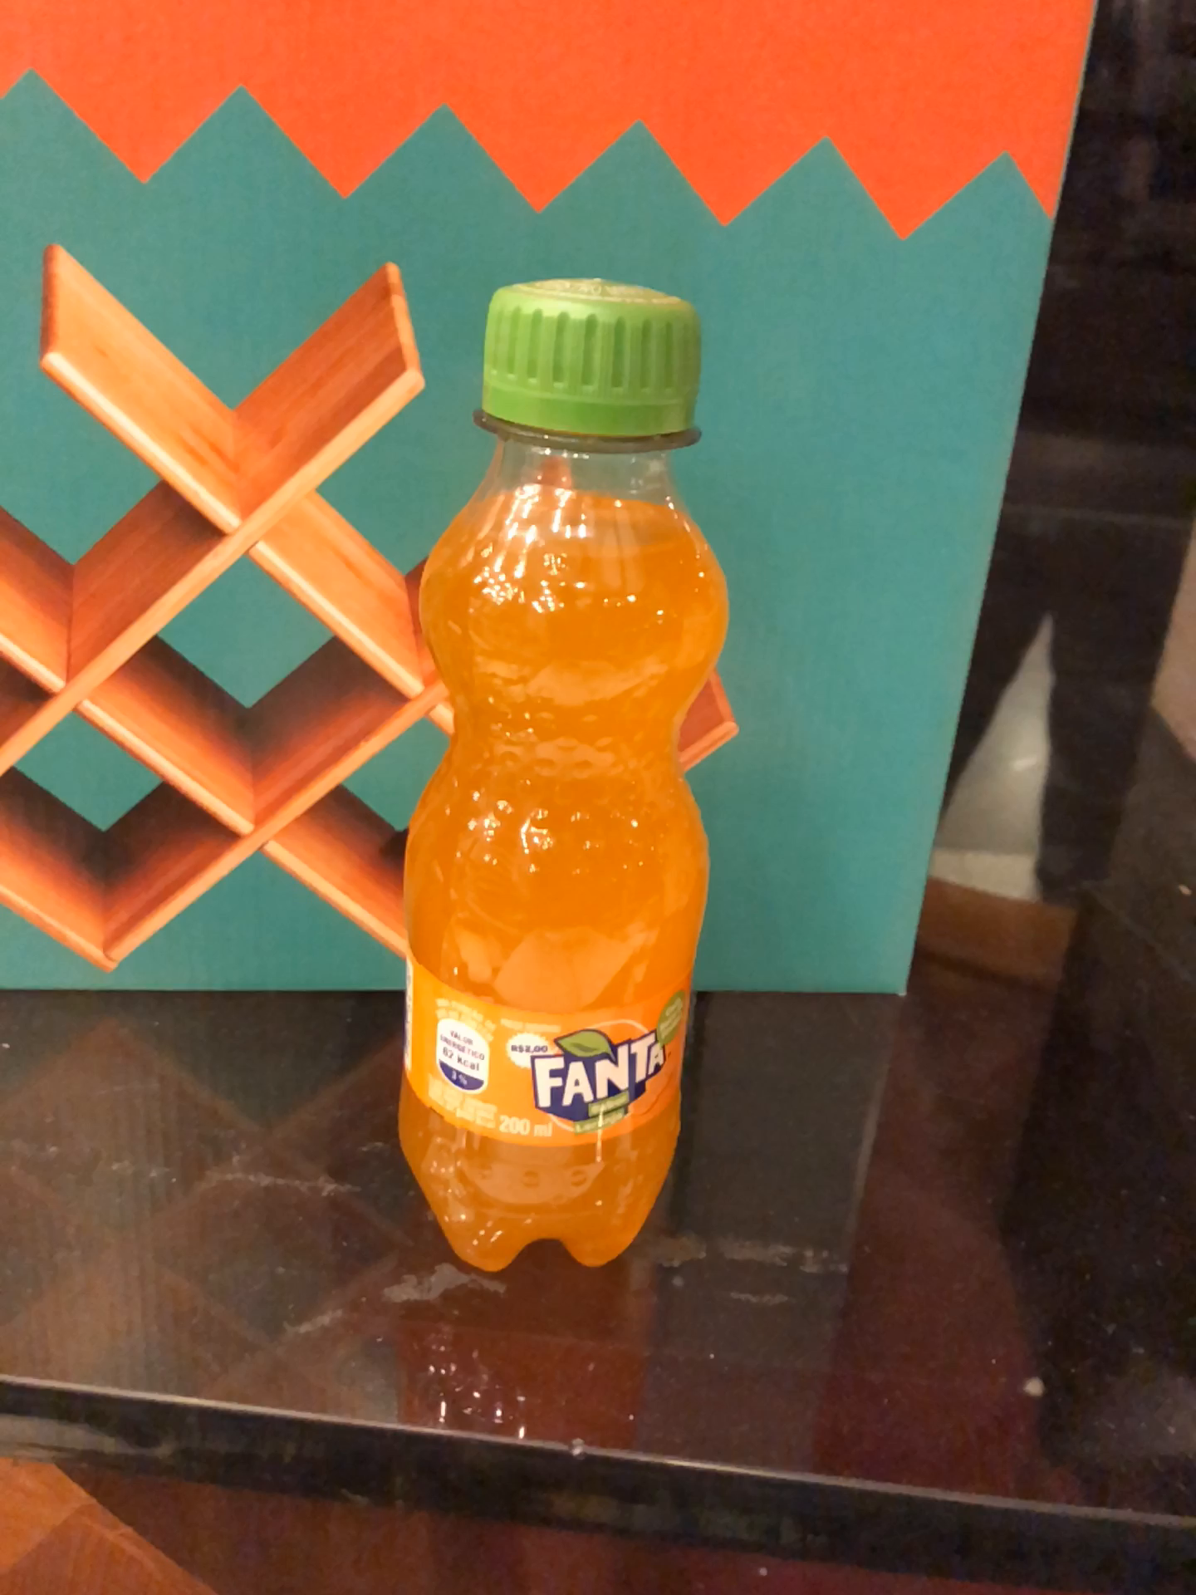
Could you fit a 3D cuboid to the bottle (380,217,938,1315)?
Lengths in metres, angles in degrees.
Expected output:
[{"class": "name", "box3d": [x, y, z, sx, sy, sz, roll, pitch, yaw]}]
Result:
[{"class": "bottle", "box3d": [0.000, -0.004, 0.216, 0.060, 0.159, 0.060, 3, 25, -1]}]
